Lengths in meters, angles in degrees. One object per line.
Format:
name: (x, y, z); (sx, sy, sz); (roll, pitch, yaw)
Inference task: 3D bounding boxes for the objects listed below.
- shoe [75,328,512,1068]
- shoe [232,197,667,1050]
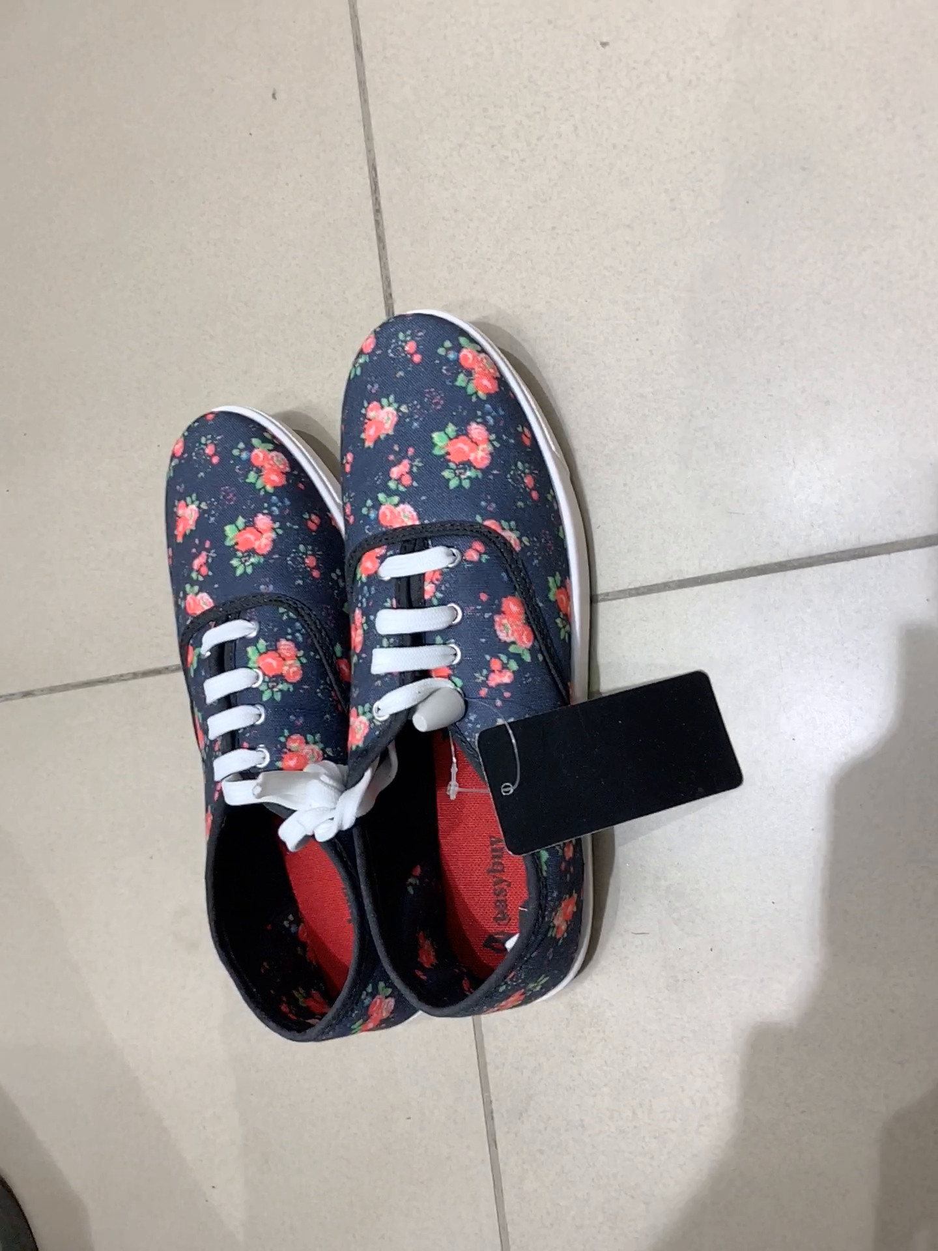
shoe: (-0.076, 0.030, 0.410); (0.100, 0.080, 0.270); (-18, 81, 26)
shoe: (-0.007, 0.003, 0.360); (0.100, 0.080, 0.270); (-11, 84, 27)
